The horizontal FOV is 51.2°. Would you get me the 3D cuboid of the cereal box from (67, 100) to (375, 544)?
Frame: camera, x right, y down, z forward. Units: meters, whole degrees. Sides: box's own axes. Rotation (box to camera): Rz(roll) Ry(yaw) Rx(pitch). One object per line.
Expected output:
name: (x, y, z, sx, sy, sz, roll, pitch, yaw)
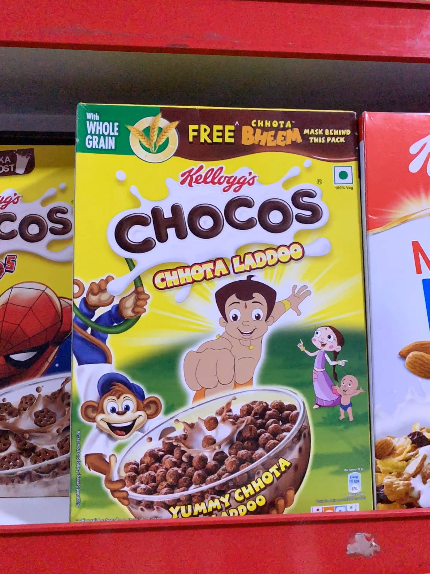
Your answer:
cereal box: (0.002, 0.017, 0.307, 0.180, 0.260, 0.070, 0, -5, -5)
